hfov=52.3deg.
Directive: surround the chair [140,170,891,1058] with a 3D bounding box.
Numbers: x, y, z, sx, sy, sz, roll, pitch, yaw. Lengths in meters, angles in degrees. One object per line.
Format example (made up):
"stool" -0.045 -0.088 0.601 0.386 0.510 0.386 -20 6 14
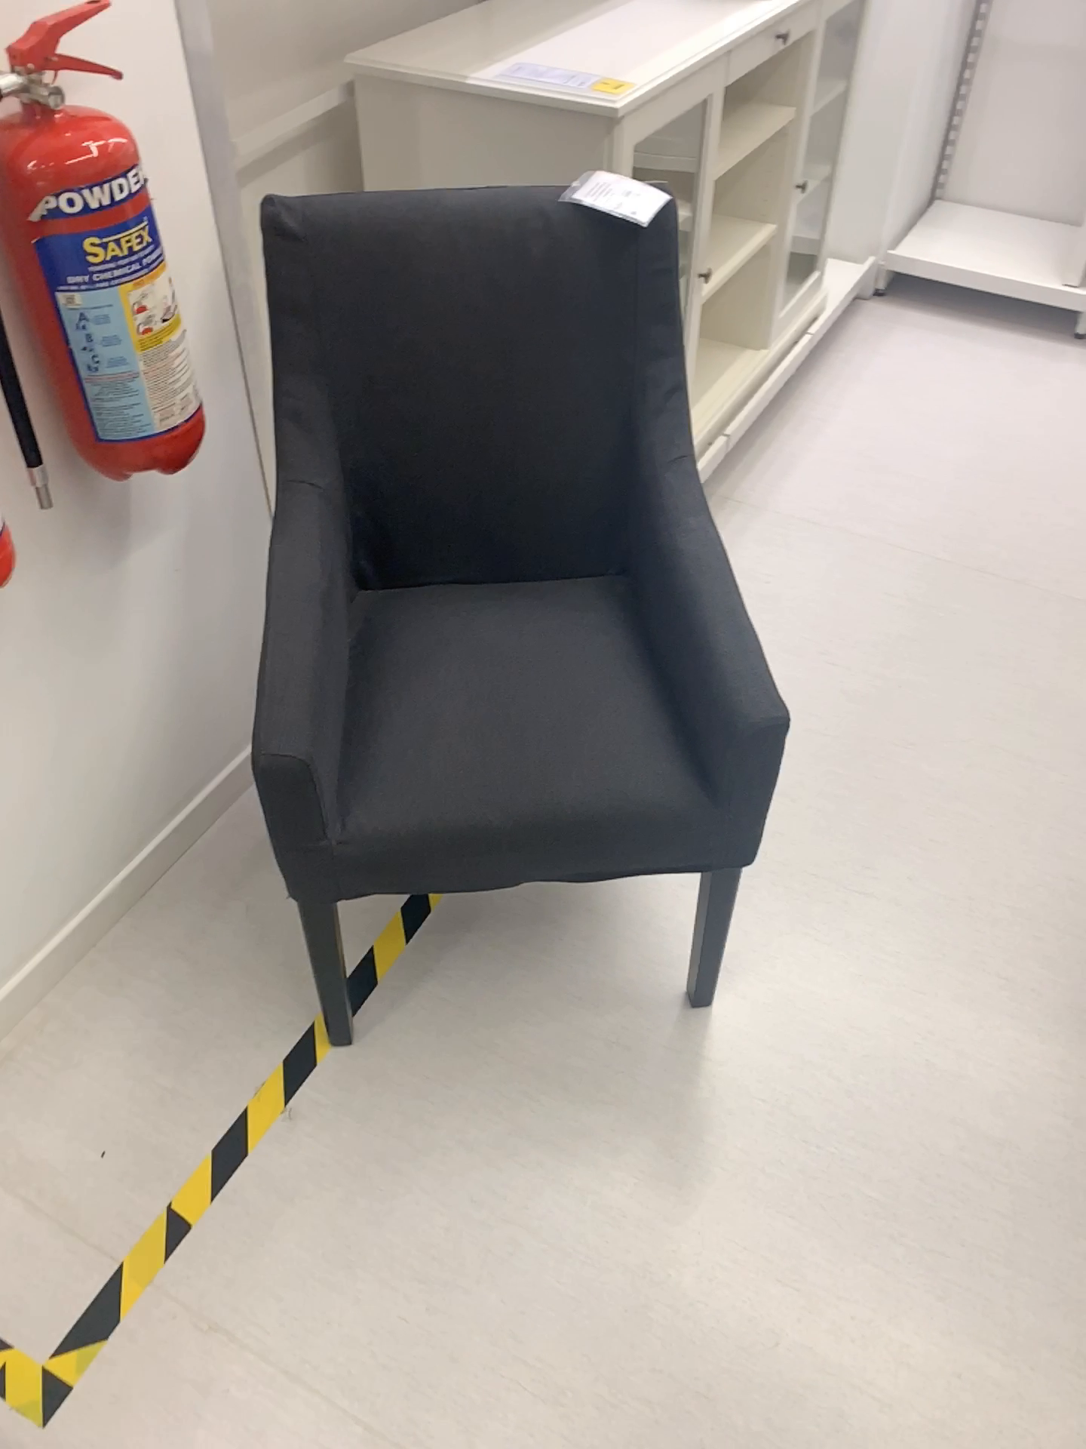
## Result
"chair" -0.051 -0.117 1.438 0.610 0.917 0.632 -4 44 -5
